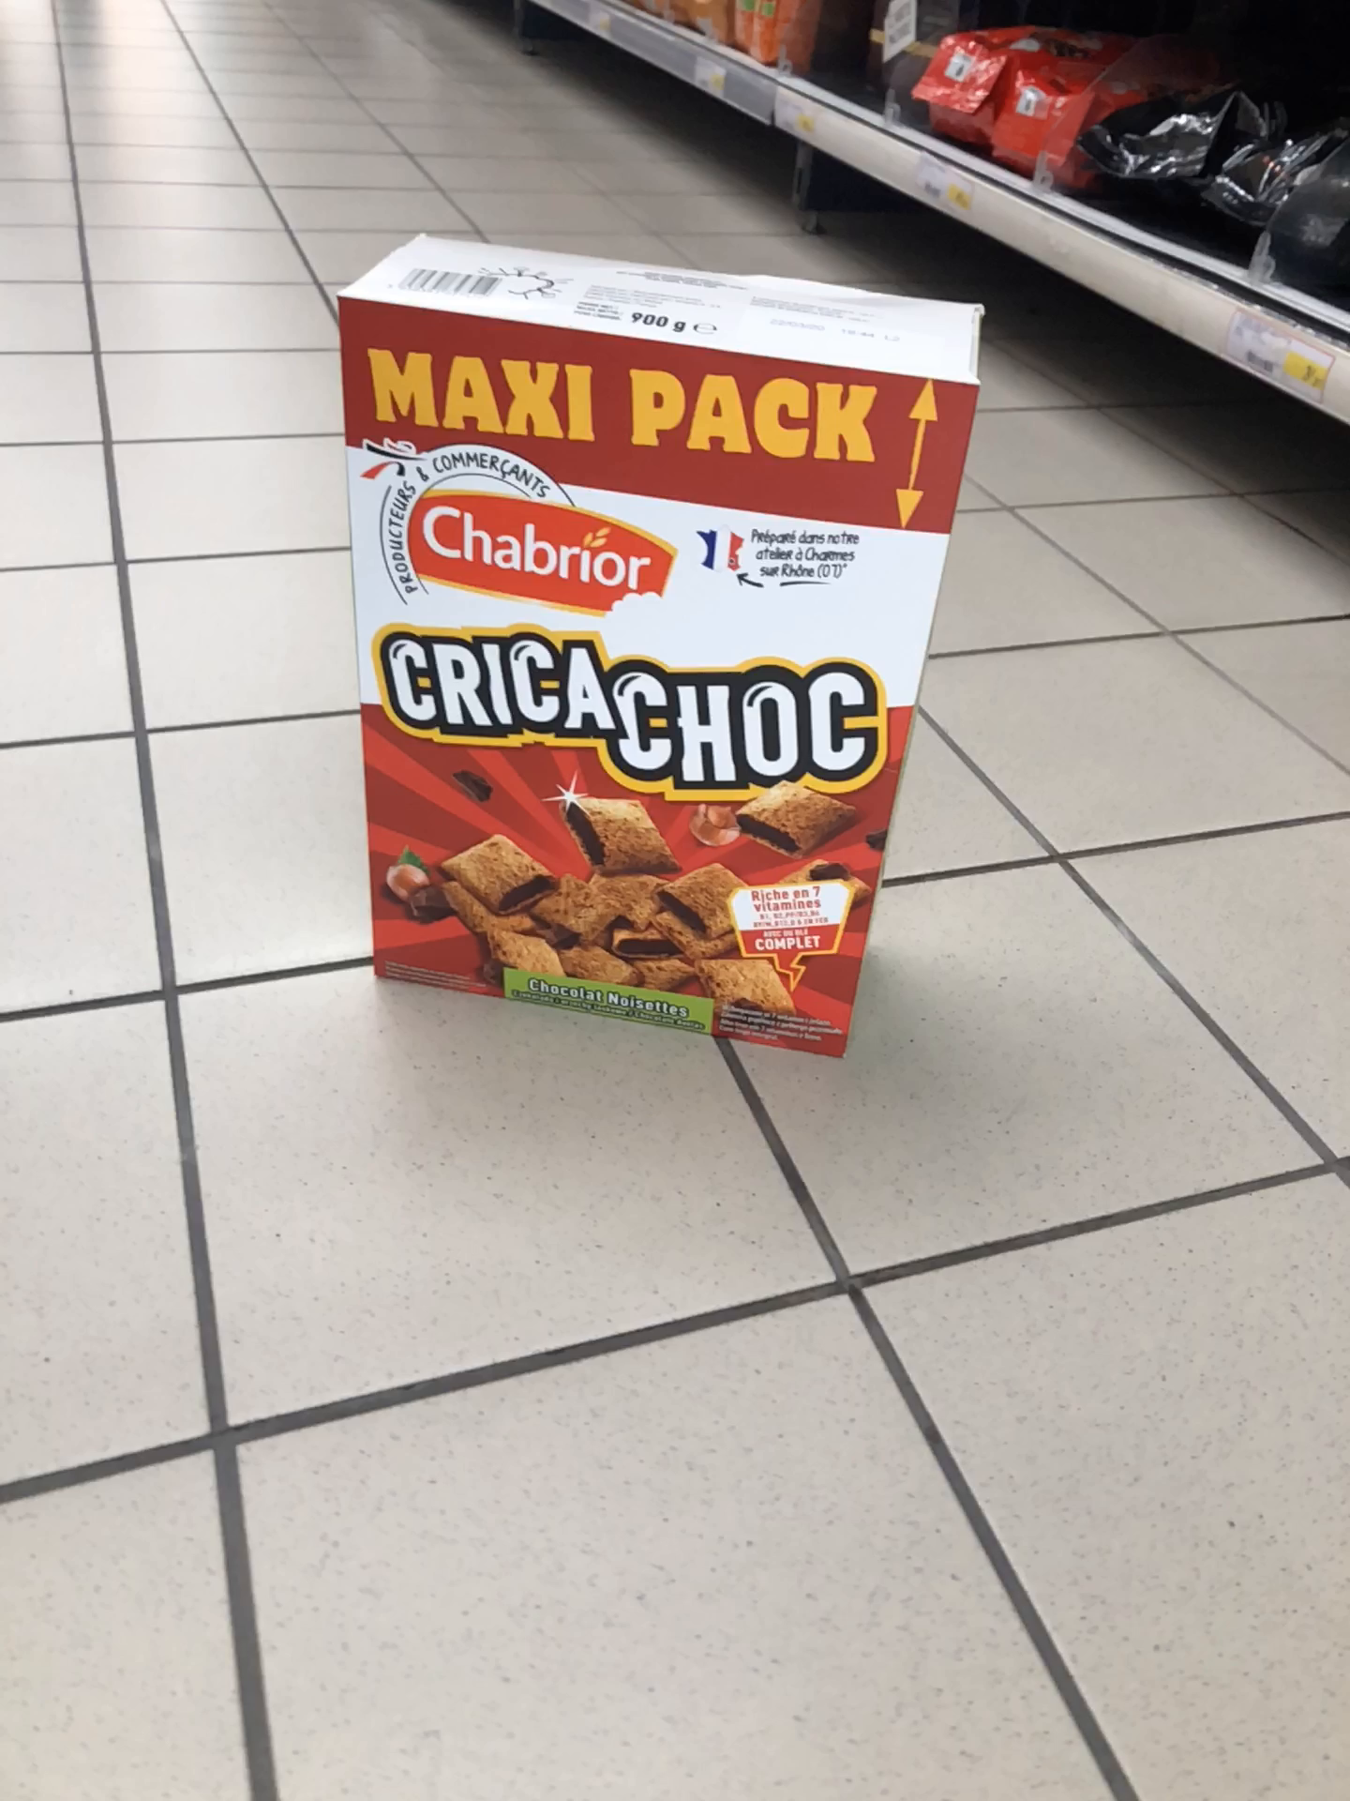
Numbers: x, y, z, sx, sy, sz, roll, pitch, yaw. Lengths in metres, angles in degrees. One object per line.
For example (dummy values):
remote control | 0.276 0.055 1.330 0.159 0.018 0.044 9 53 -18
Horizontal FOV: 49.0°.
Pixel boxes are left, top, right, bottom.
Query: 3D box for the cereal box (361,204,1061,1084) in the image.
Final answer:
cereal box | 0.005 -0.081 0.524 0.200 0.268 0.081 10 35 7
